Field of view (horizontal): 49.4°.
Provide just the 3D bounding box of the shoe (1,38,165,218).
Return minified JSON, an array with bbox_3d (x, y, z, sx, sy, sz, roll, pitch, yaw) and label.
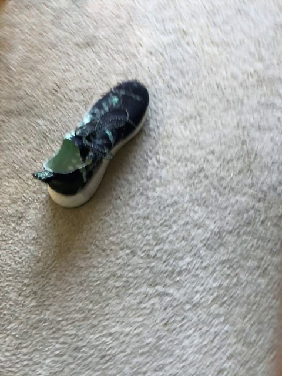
[{"bbox_3d":[-0.091,-0.107,0.564,0.131,0.100,0.287,33,81,12],"label":"shoe"}]
